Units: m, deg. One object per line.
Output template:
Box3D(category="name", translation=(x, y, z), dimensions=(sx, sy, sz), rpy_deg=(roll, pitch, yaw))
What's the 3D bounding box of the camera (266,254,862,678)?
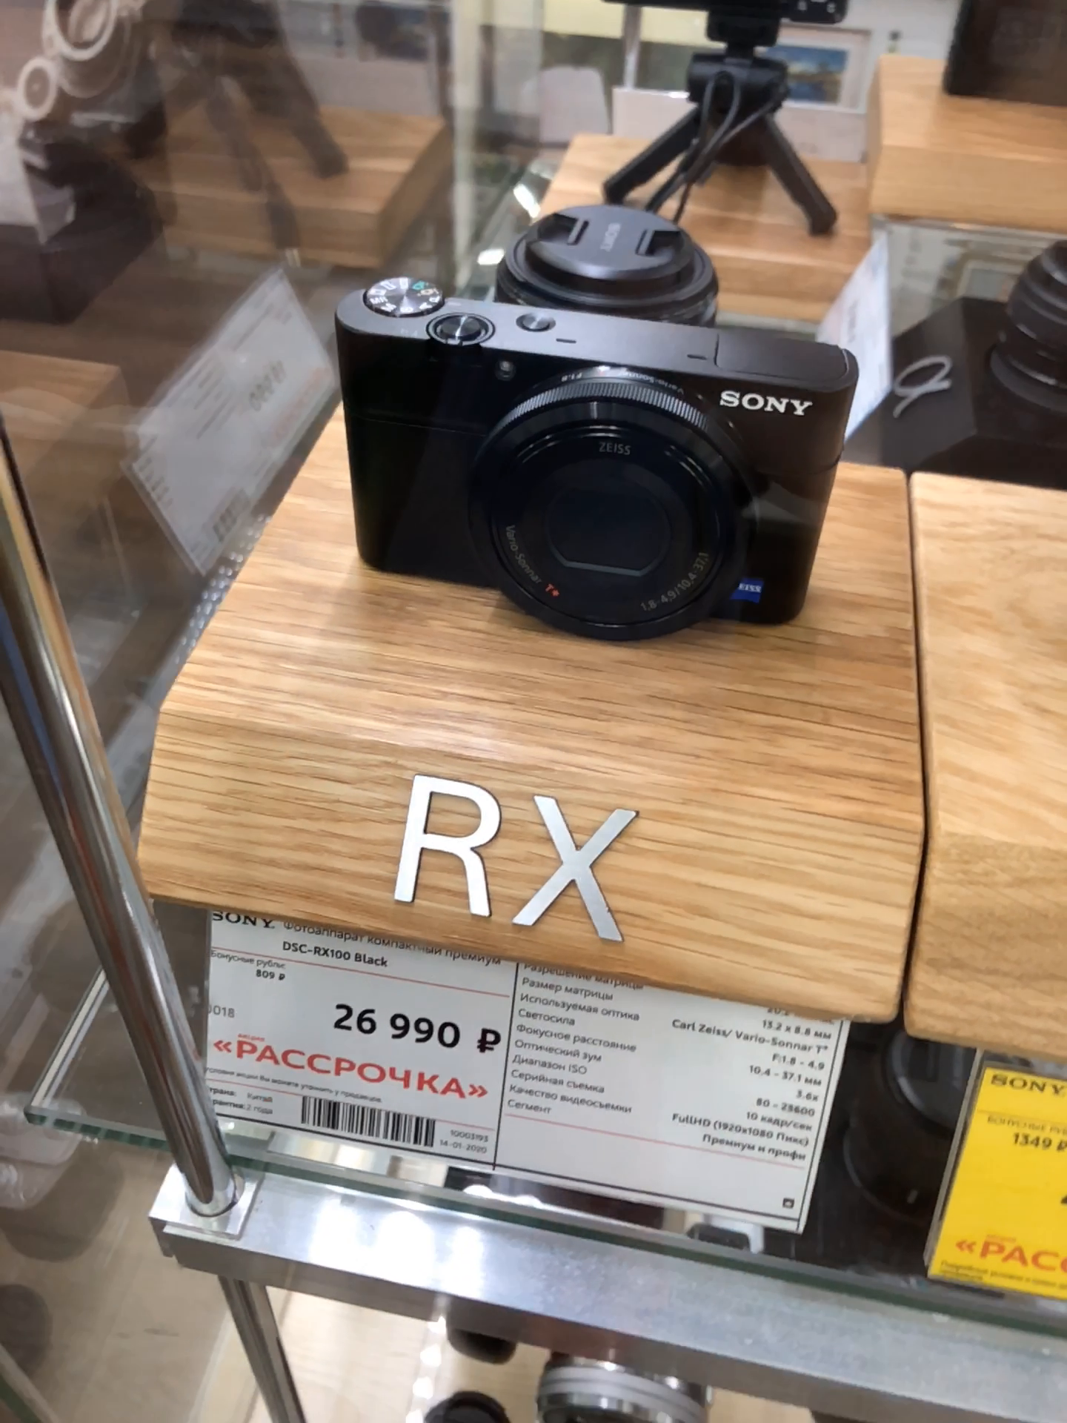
Box3D(category="camera", translation=(0.006, -0.050, 0.243), dimensions=(0.106, 0.062, 0.037), rpy_deg=(9, 45, 7))
